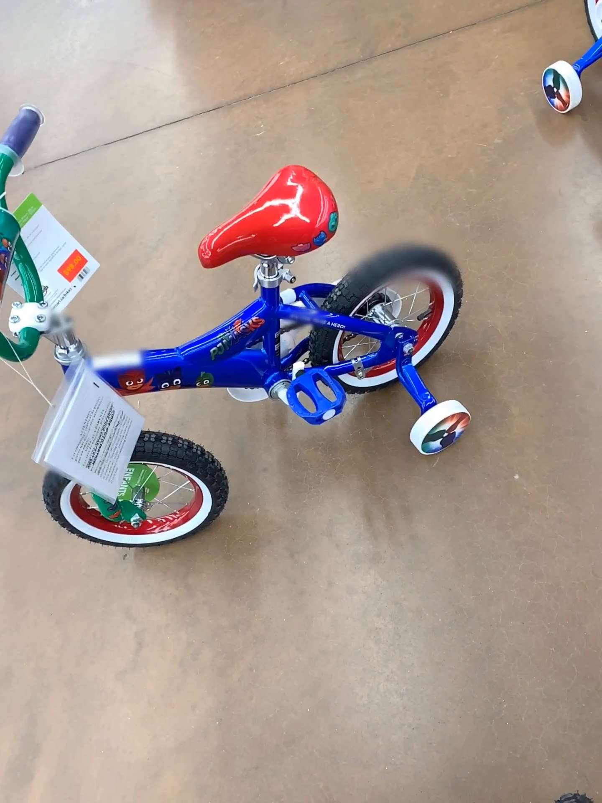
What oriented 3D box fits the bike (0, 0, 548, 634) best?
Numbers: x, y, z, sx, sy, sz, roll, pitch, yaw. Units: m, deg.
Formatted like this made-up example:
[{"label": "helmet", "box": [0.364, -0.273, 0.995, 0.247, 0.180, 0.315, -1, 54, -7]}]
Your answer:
[{"label": "bike", "box": [-0.143, -0.123, 0.906, 0.774, 0.670, 0.461, -31, 56, -2]}]
